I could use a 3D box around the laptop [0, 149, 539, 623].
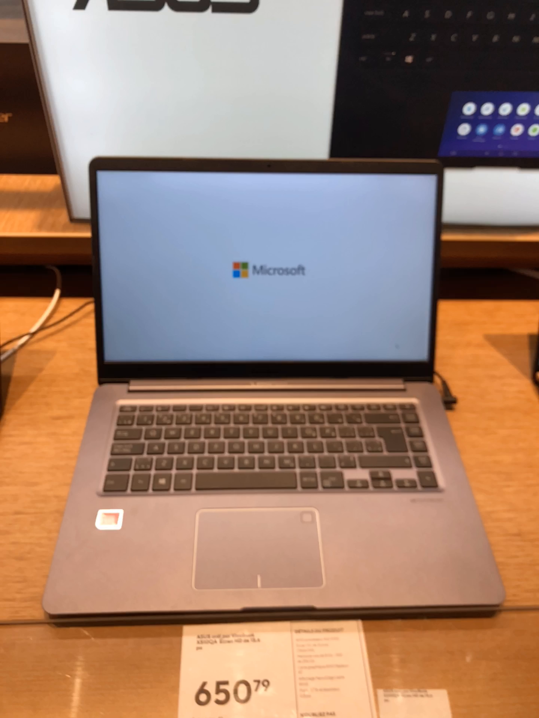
[{"bbox_3d":[0.001,-0.008,0.531,0.352,0.177,0.392,0,44,-3],"label":"laptop"}]
